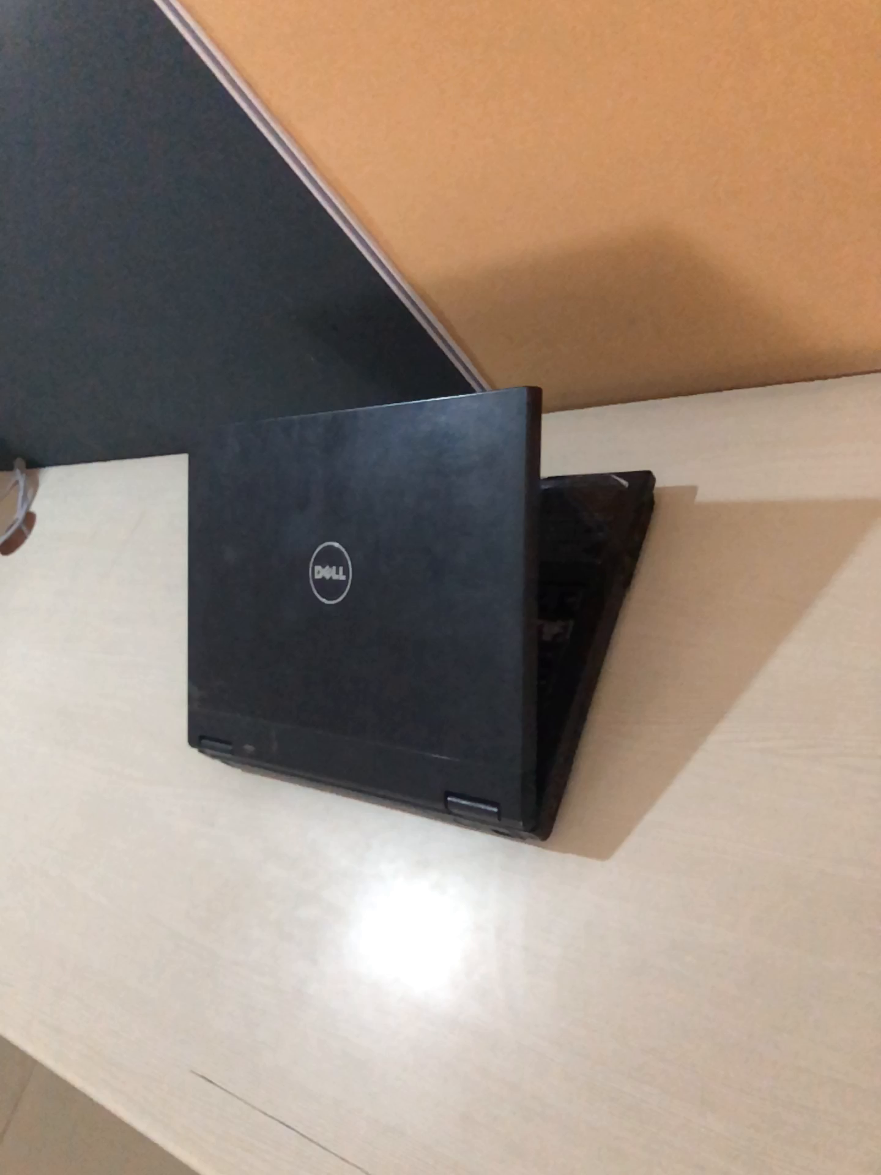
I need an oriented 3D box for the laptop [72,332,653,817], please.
[{"bbox_3d":[-0.055,-0.009,0.621,0.304,0.126,0.225,1,61,42],"label":"laptop"}]
